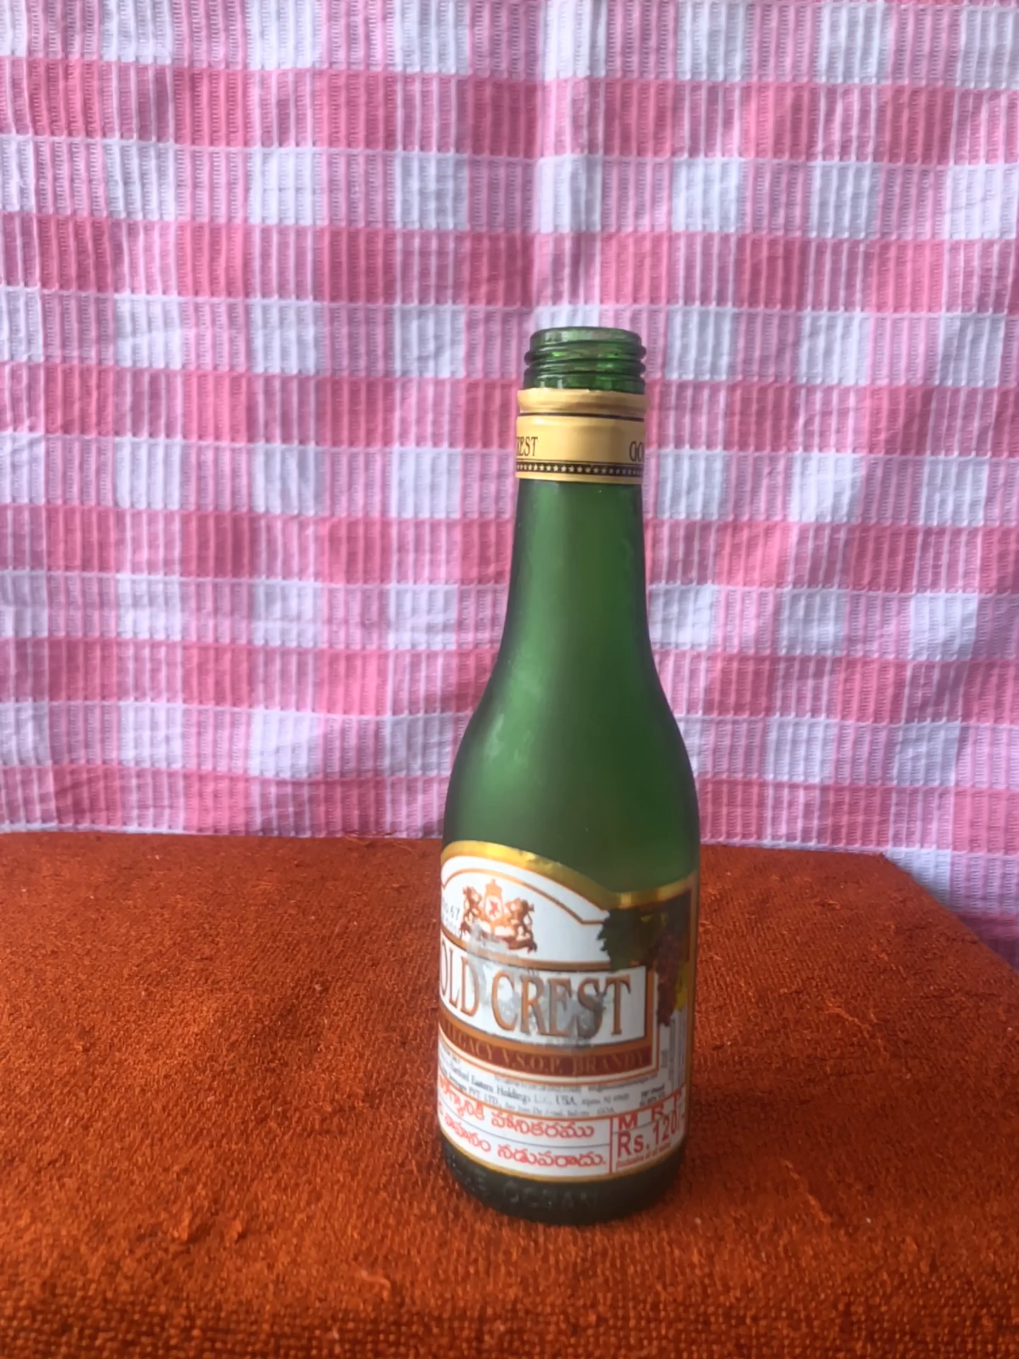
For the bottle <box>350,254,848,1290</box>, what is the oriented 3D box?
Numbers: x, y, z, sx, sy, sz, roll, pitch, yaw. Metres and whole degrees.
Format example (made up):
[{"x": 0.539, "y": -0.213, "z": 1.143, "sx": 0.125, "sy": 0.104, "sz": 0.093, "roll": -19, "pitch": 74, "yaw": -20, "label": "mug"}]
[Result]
[{"x": 0.014, "y": 0.013, "z": 0.220, "sx": 0.060, "sy": 0.170, "sz": 0.060, "roll": 3, "pitch": 12, "yaw": -1, "label": "bottle"}]
